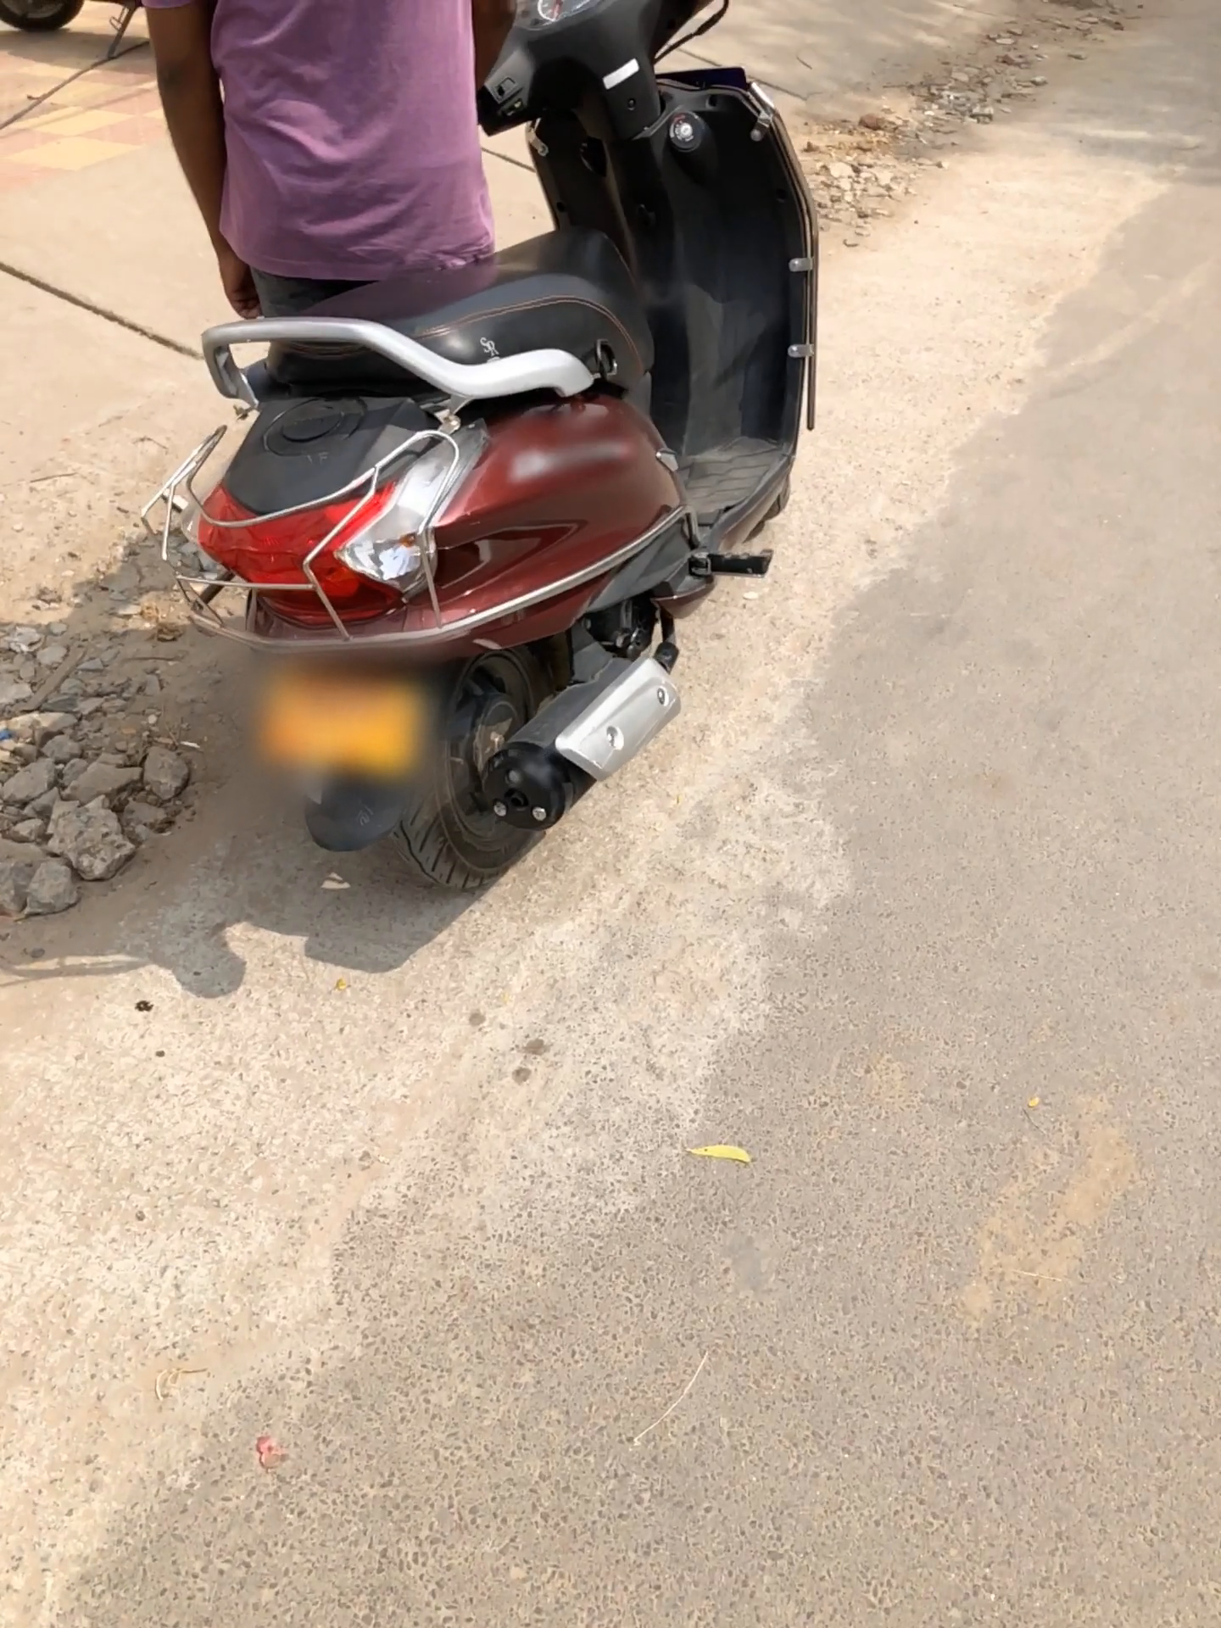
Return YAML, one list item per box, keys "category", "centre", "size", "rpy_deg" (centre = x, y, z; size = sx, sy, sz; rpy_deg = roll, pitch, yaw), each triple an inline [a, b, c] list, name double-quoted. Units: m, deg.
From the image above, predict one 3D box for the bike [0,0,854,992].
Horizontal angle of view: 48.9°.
- category: "bike"
  centre: [-0.128, -0.758, 2.203]
  size: [0.674, 1.125, 1.627]
  rpy_deg: [11, 42, 13]
